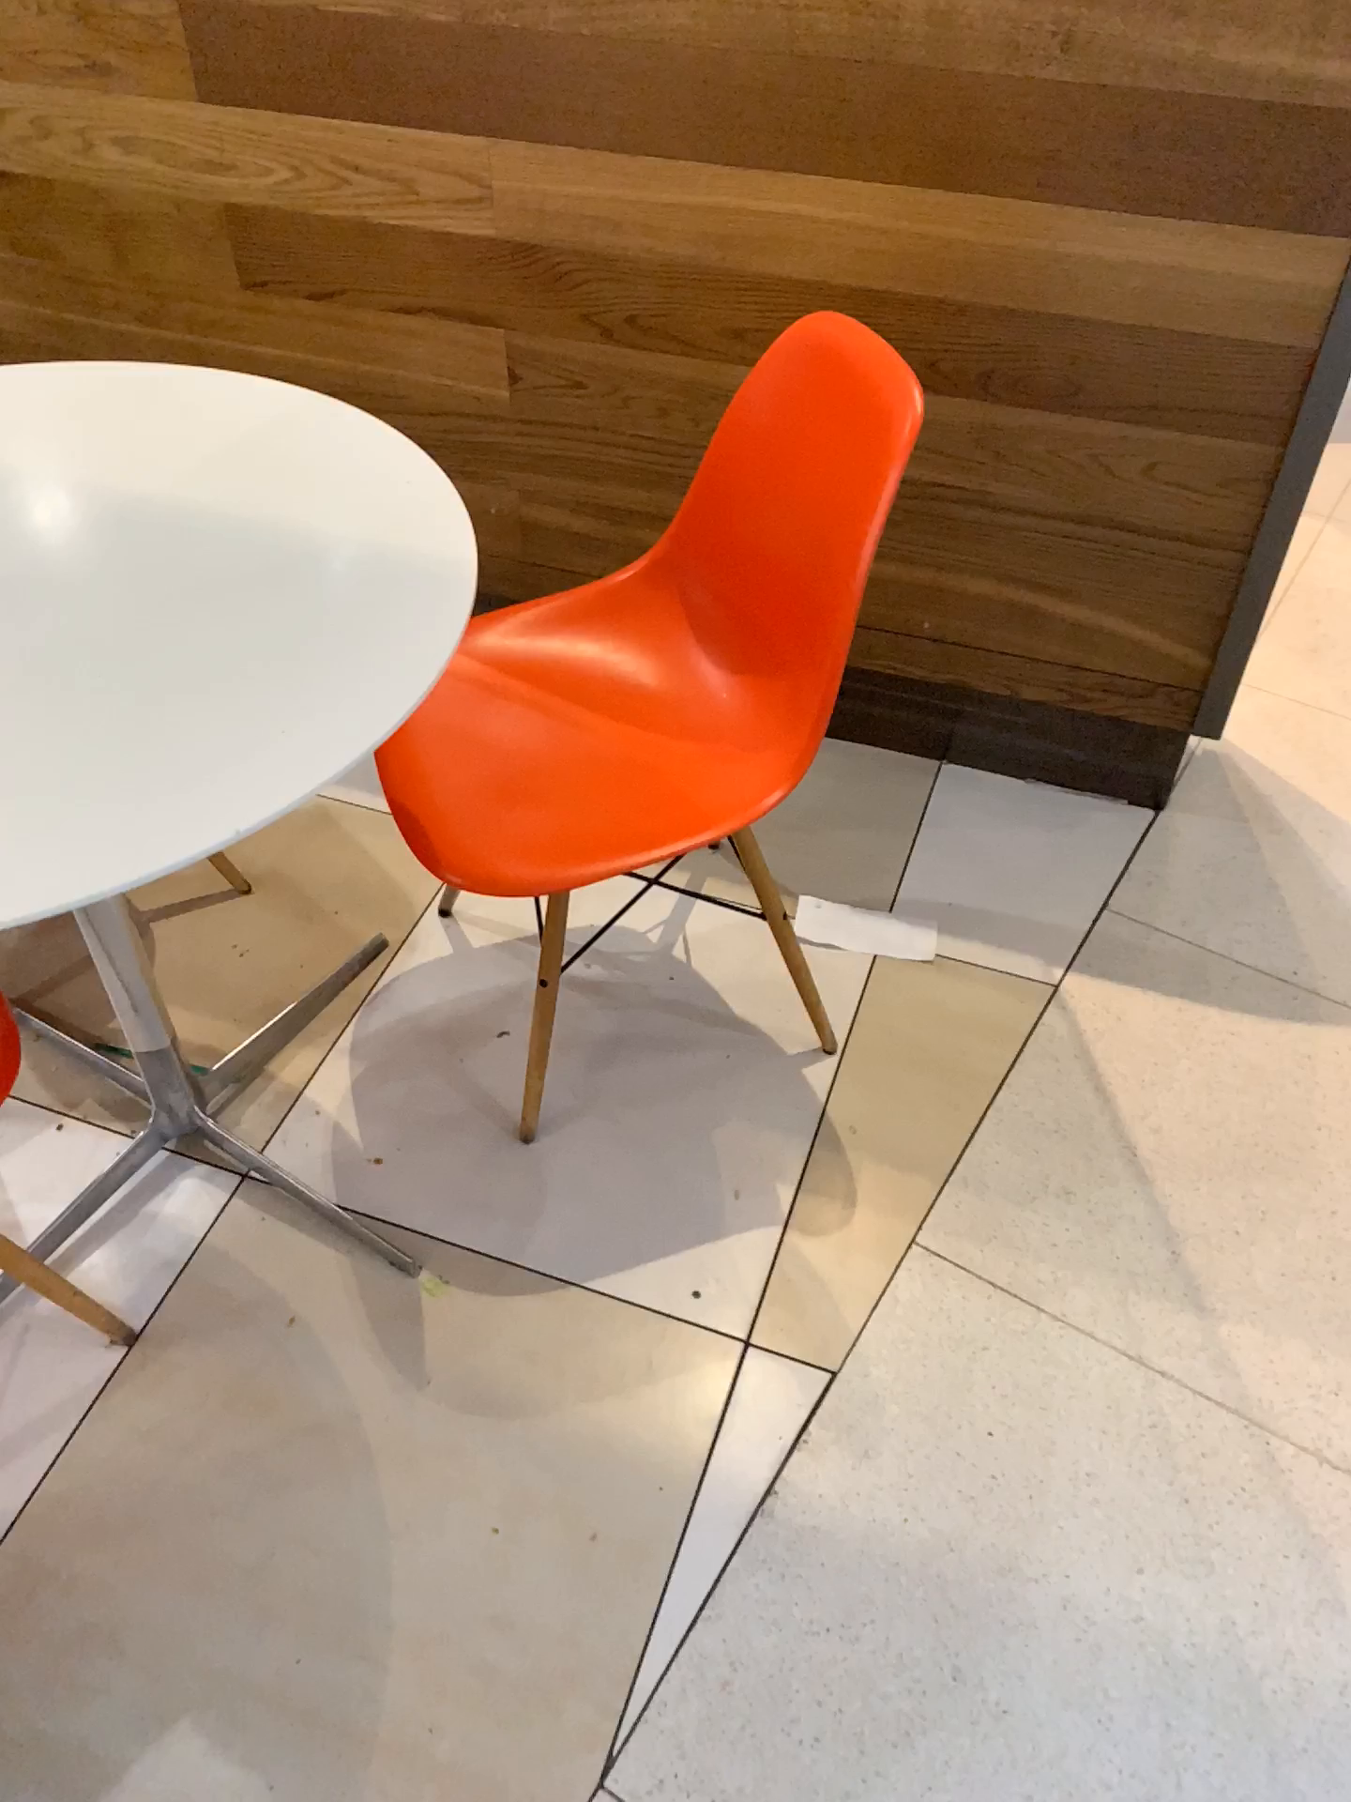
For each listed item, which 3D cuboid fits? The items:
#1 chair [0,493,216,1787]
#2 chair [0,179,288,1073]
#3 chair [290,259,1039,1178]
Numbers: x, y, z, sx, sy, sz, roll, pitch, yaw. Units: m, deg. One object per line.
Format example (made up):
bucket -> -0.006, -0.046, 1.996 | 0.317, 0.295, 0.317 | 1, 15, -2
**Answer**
chair -> -0.792, 0.199, 1.075 | 0.449, 0.762, 0.513 | 34, 53, 29
chair -> -0.851, -0.308, 1.570 | 0.450, 0.742, 0.523 | -34, 54, -29
chair -> -0.034, -0.175, 1.442 | 0.521, 0.742, 0.451 | -15, 47, -15
